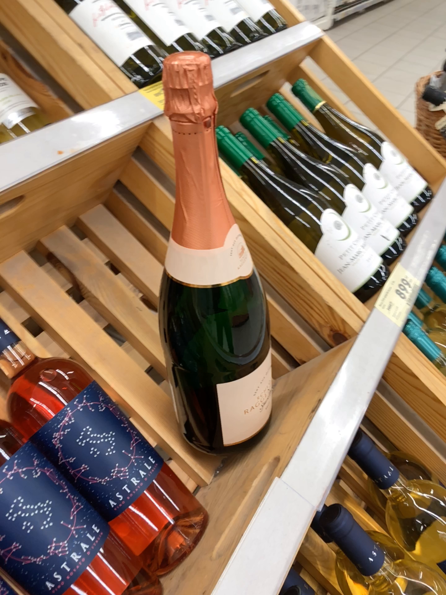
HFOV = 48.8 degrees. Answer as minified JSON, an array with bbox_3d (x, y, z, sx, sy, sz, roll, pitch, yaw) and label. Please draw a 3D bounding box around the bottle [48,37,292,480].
[{"bbox_3d":[-0.018,-0.017,0.435,0.110,0.358,0.121,-5,33,3],"label":"bottle"}]
